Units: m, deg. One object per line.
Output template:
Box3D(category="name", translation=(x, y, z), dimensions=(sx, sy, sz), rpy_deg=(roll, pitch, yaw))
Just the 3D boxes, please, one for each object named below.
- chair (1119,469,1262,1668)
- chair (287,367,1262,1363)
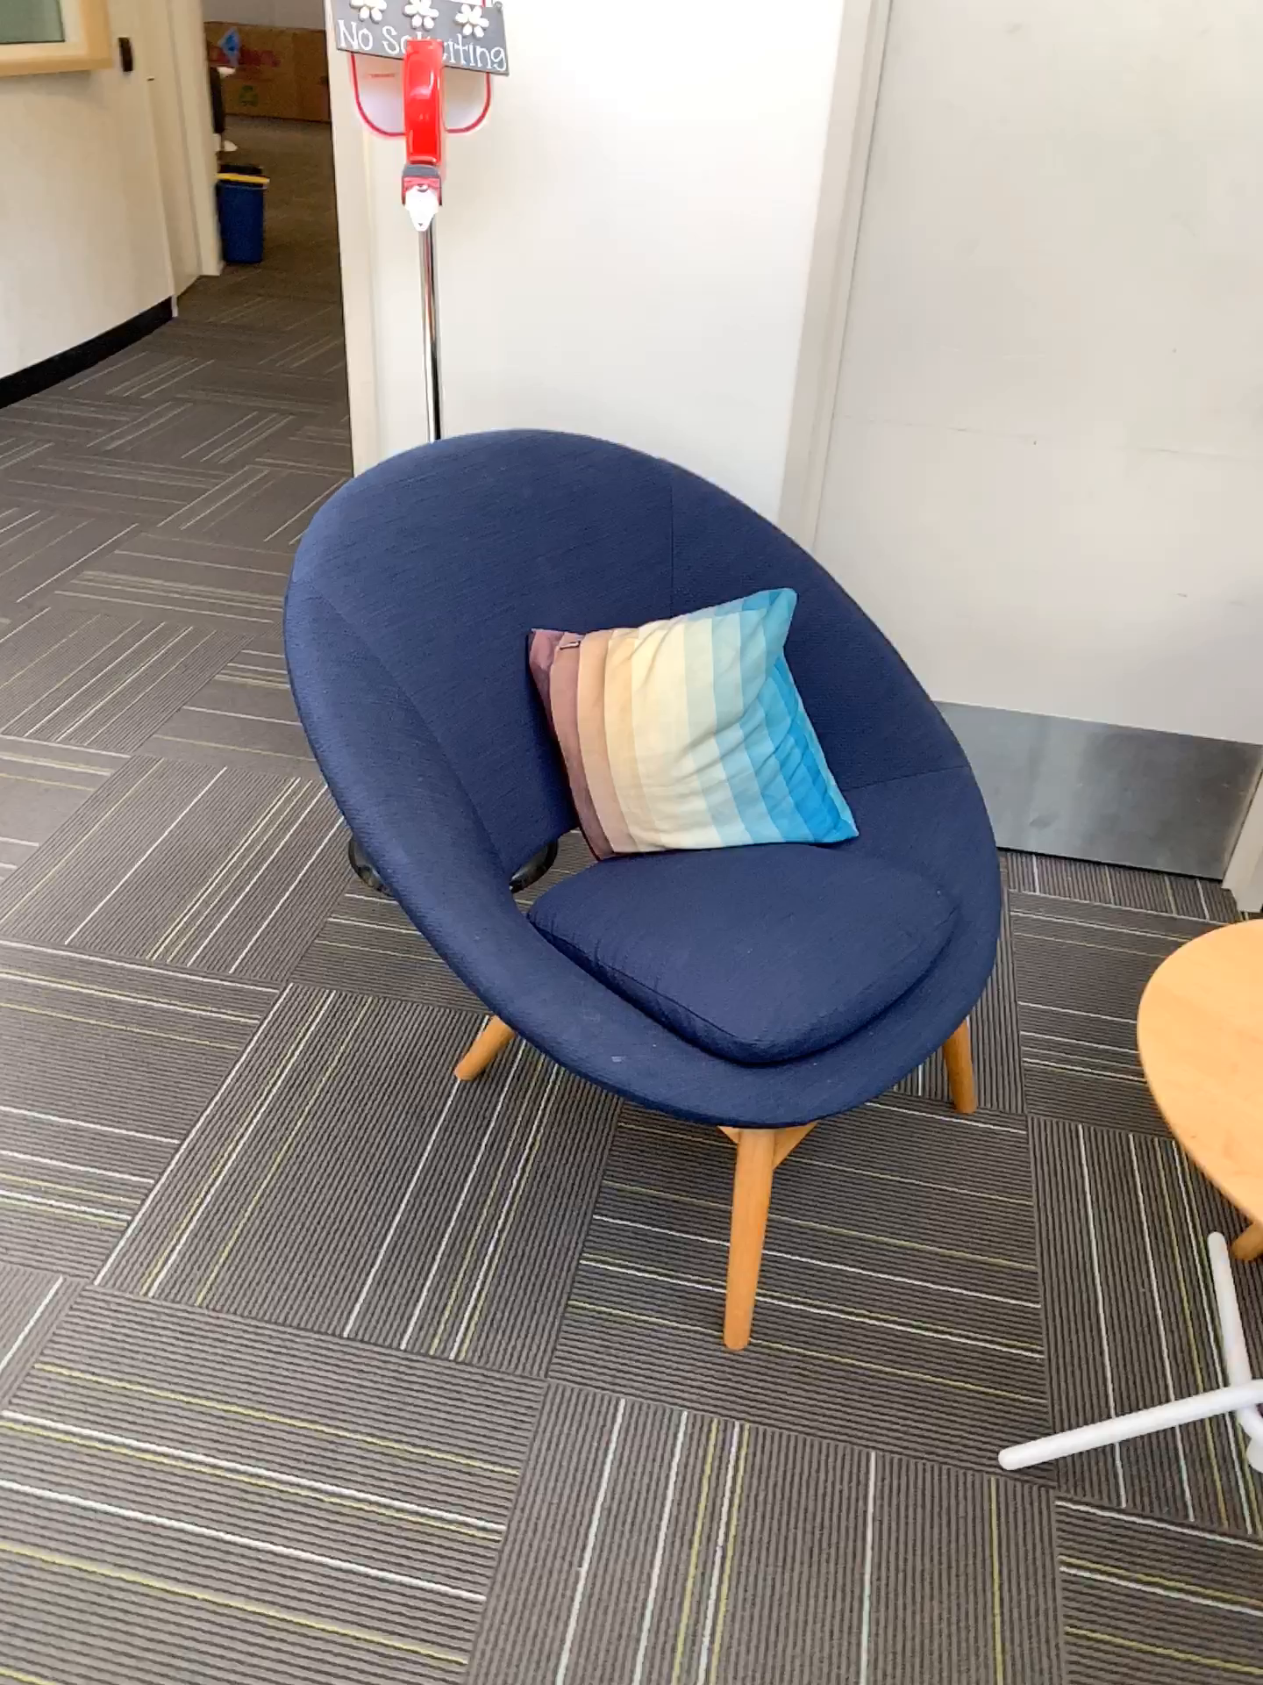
Box3D(category="chair", translation=(1.407, 0.172, 1.694), dimensions=(0.981, 0.944, 0.834), rpy_deg=(-21, 41, -33))
Box3D(category="chair", translation=(0.136, -0.067, 1.745), dimensions=(0.791, 0.835, 0.844), rpy_deg=(-23, 42, -35))
